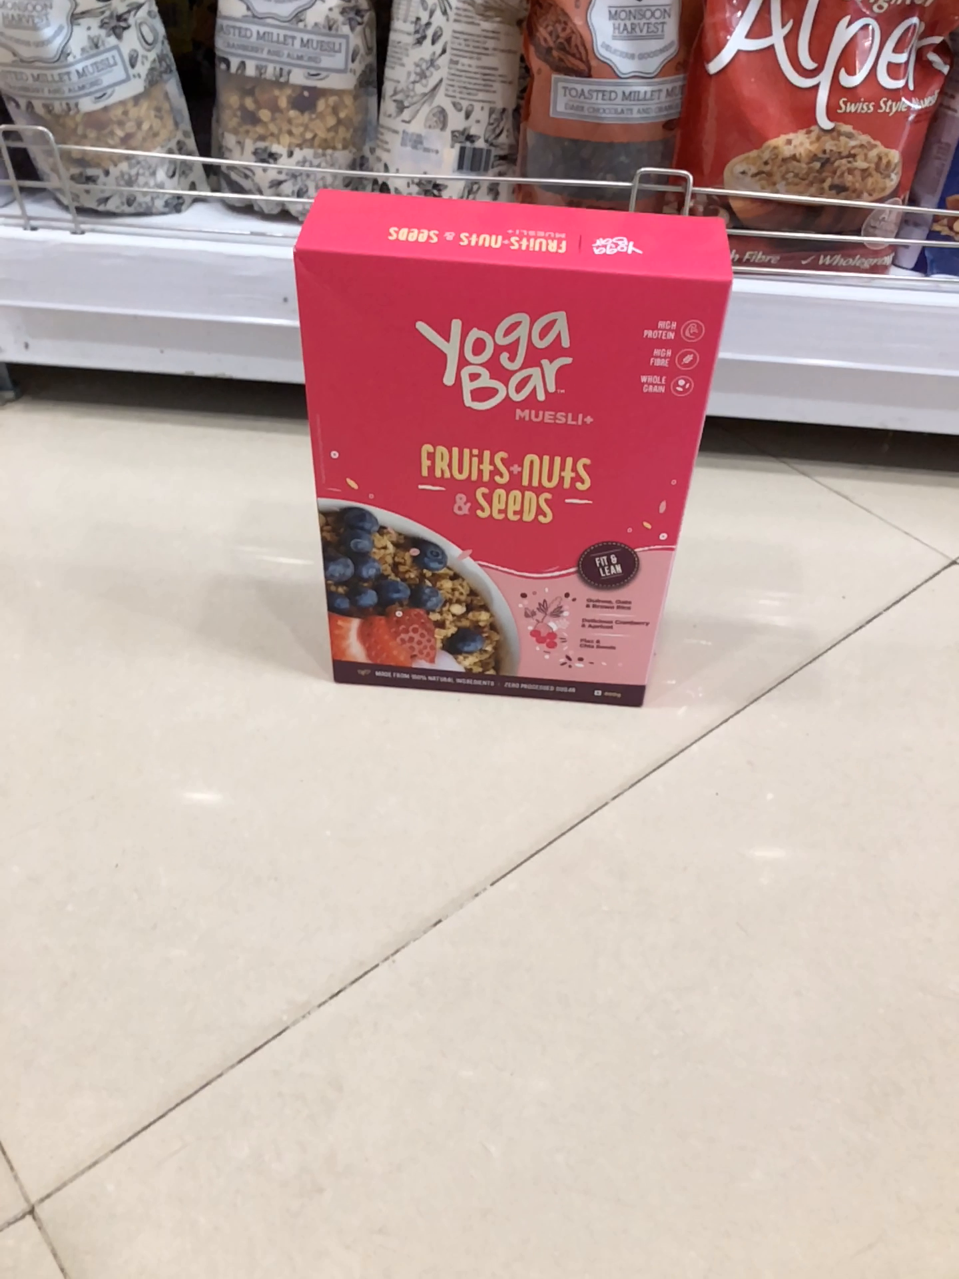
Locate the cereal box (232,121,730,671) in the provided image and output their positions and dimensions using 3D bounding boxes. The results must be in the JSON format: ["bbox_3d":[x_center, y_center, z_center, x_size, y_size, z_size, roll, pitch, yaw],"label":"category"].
[{"bbox_3d":[-0.002,-0.091,0.463,0.170,0.228,0.060,3,45,0],"label":"cereal box"}]
